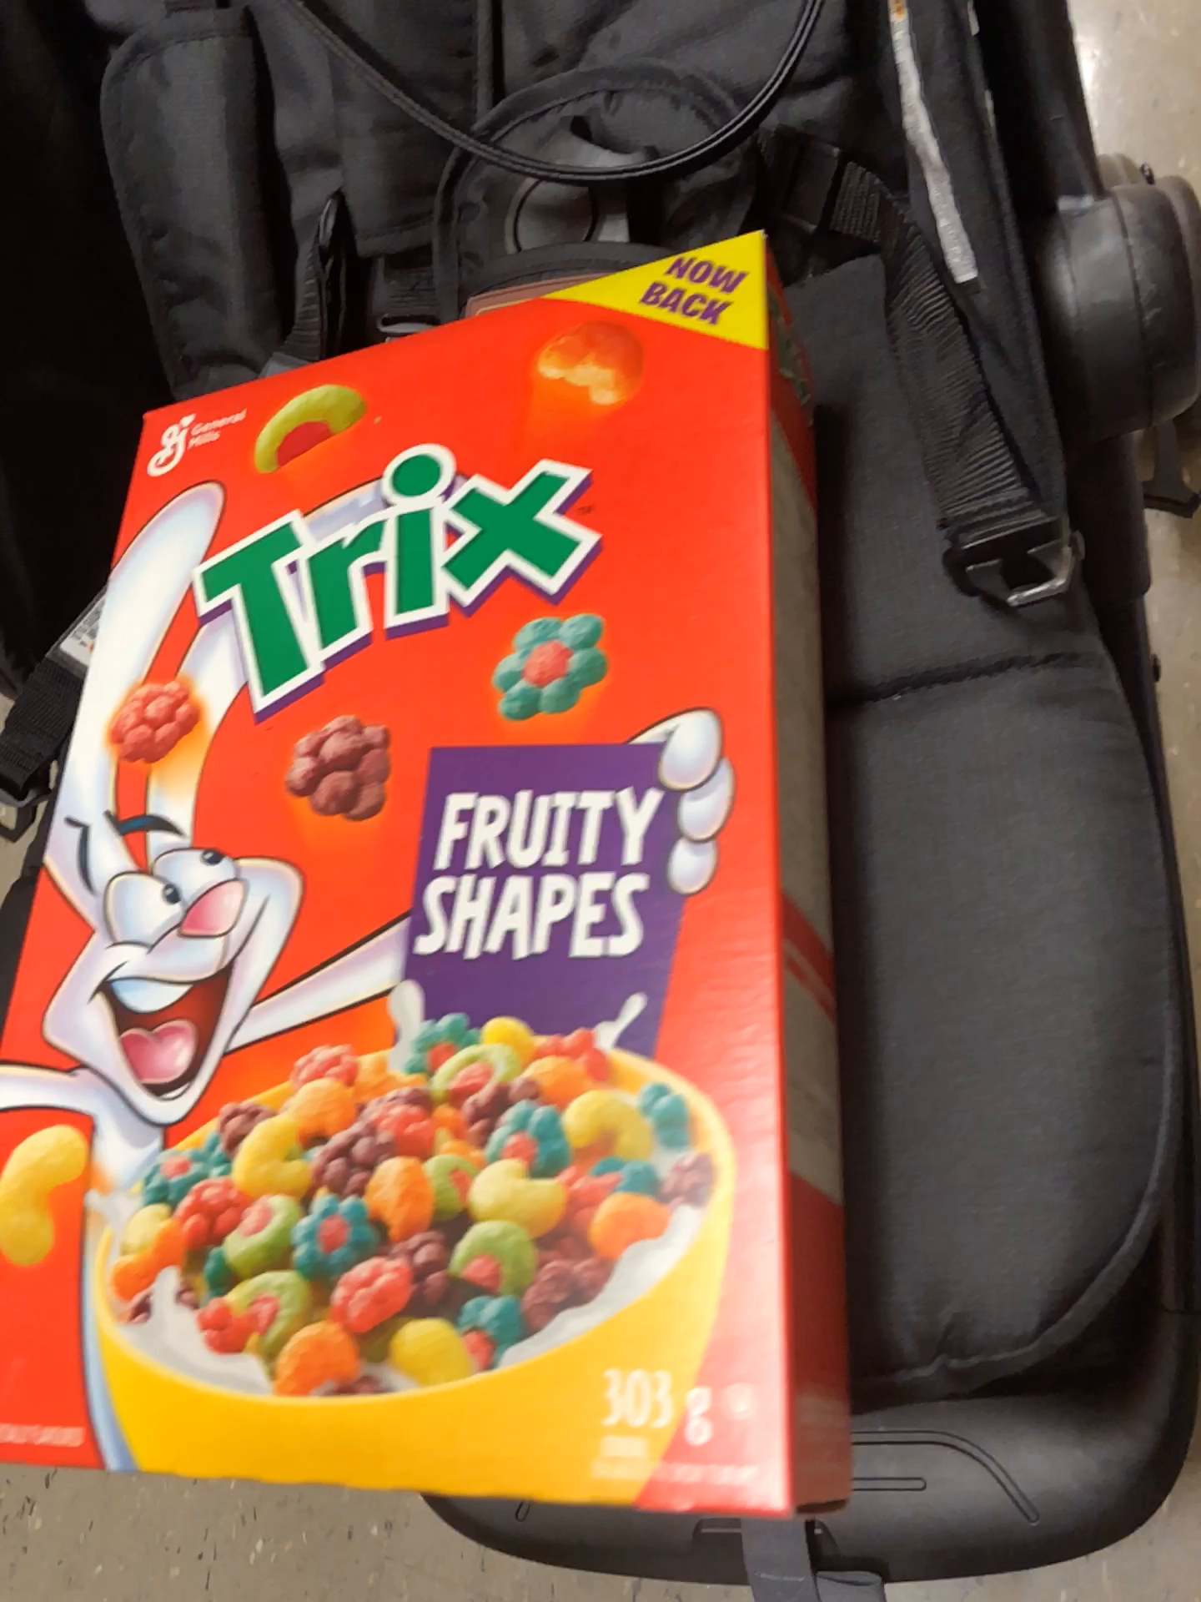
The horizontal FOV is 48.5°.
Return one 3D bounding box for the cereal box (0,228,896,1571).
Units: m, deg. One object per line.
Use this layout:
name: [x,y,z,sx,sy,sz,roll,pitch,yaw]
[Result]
cereal box: [-0.045,0.016,0.322,0.201,0.060,0.280,-8,64,21]
